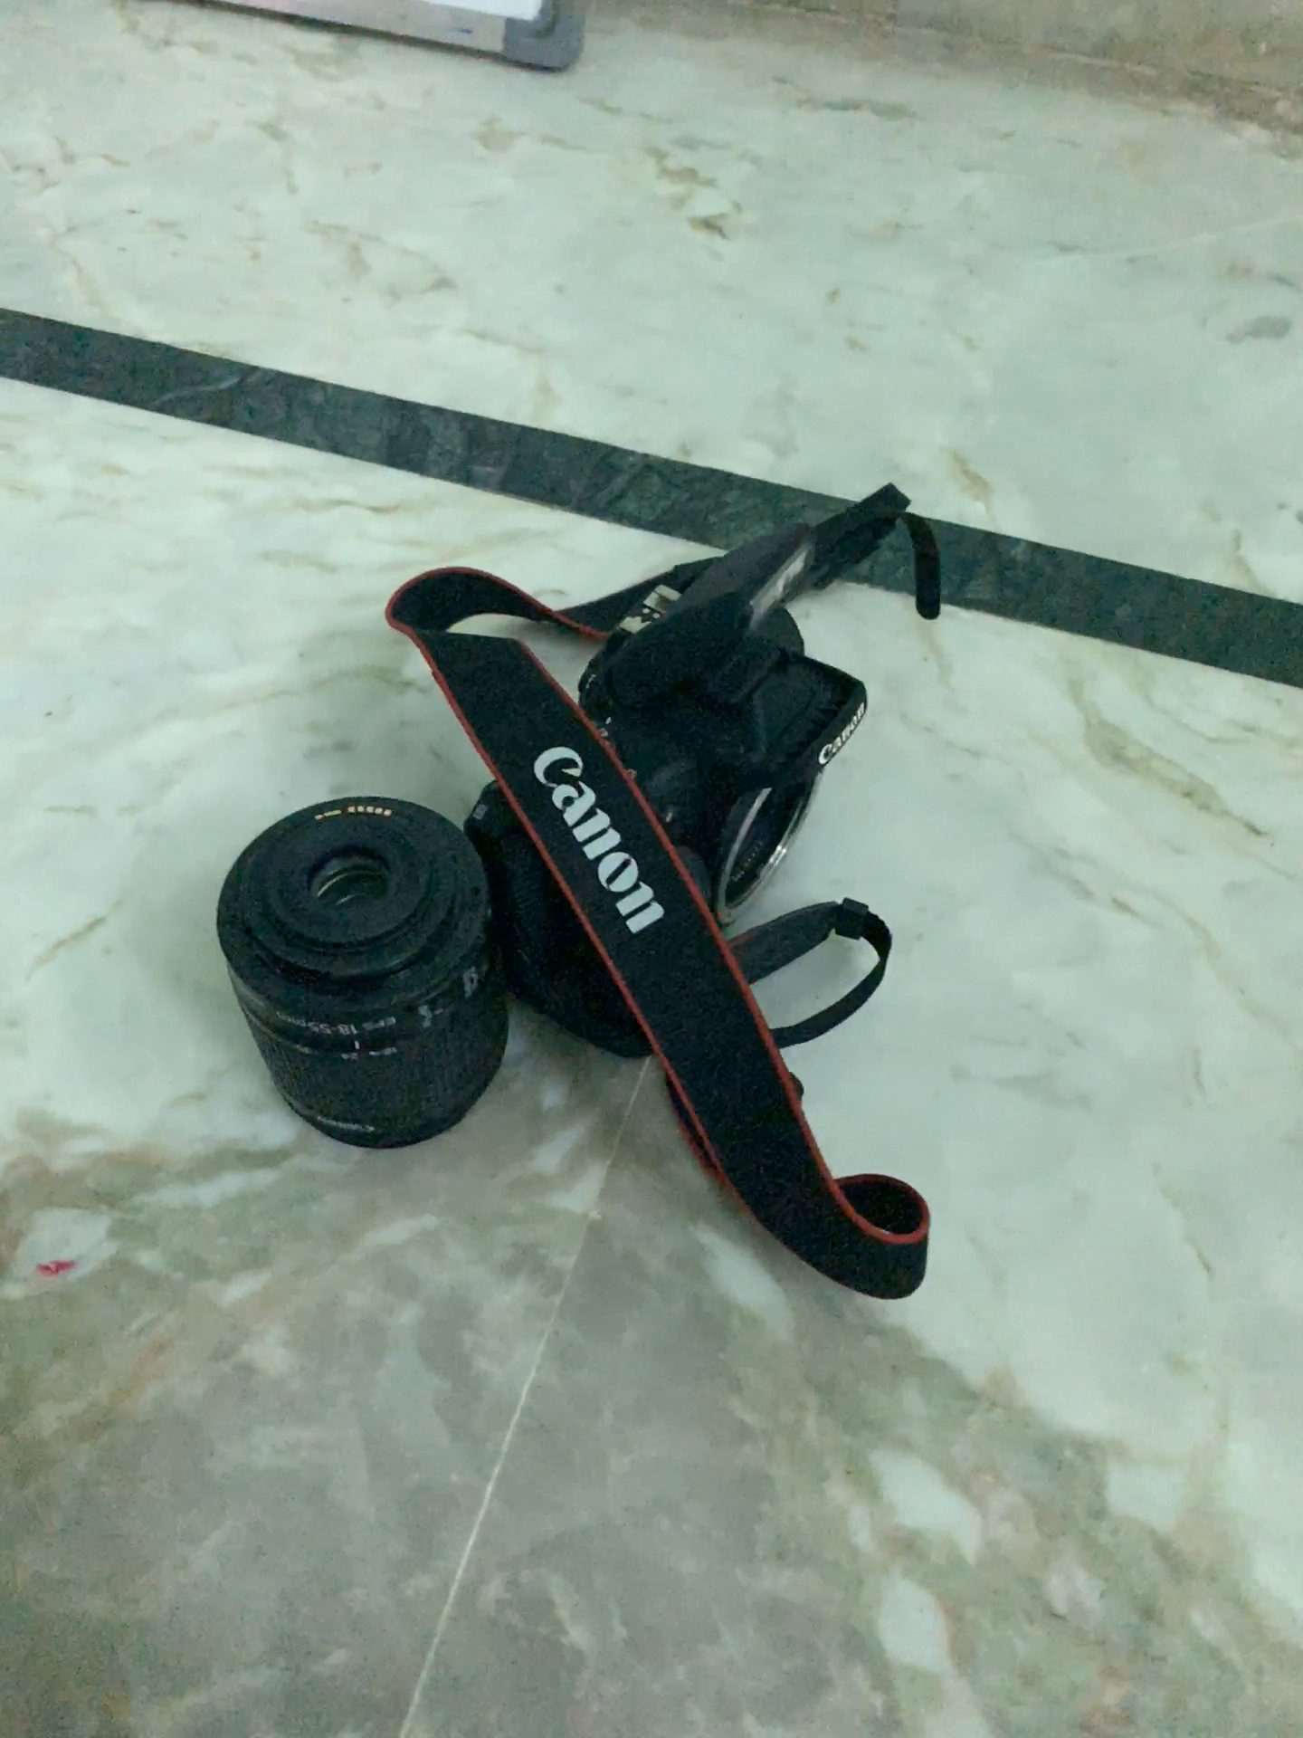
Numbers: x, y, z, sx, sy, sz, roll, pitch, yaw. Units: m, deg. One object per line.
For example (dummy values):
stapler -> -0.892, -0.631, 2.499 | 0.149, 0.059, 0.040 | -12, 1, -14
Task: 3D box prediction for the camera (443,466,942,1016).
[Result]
camera -> 0.012, -0.038, 0.379 | 0.082, 0.078, 0.112 | 29, 57, 18
